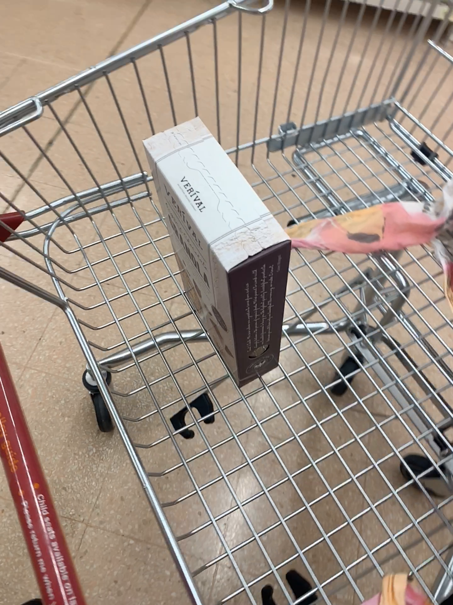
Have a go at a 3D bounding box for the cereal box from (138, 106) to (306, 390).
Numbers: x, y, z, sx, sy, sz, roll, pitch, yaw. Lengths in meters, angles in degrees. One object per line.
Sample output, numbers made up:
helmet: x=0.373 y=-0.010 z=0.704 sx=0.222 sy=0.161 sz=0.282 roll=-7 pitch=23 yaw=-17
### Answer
cereal box: x=-0.003 y=-0.028 z=0.400 sx=0.050 sy=0.219 sz=0.141 roll=-26 pitch=65 yaw=-10
